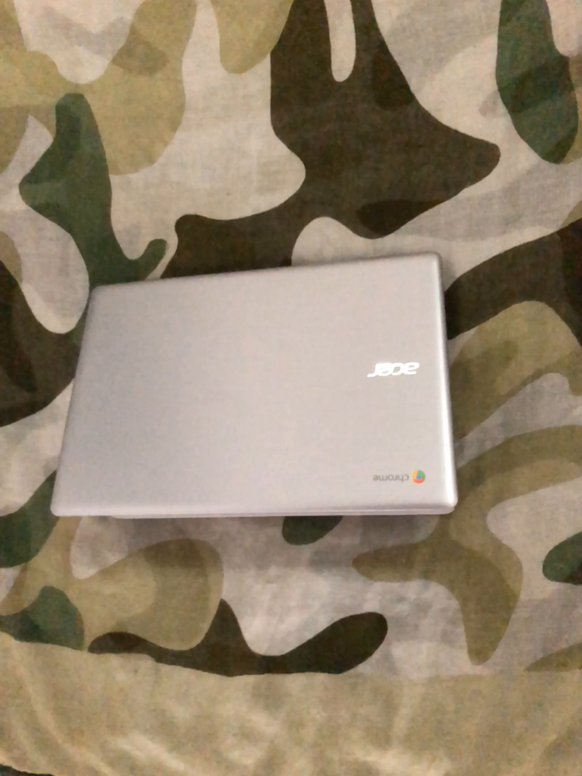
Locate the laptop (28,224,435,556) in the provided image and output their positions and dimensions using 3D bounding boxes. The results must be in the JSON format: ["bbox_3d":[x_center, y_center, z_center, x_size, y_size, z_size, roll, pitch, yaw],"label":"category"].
[{"bbox_3d":[-0.046,0.005,0.543,0.311,0.125,0.232,-4,86,13],"label":"laptop"}]
